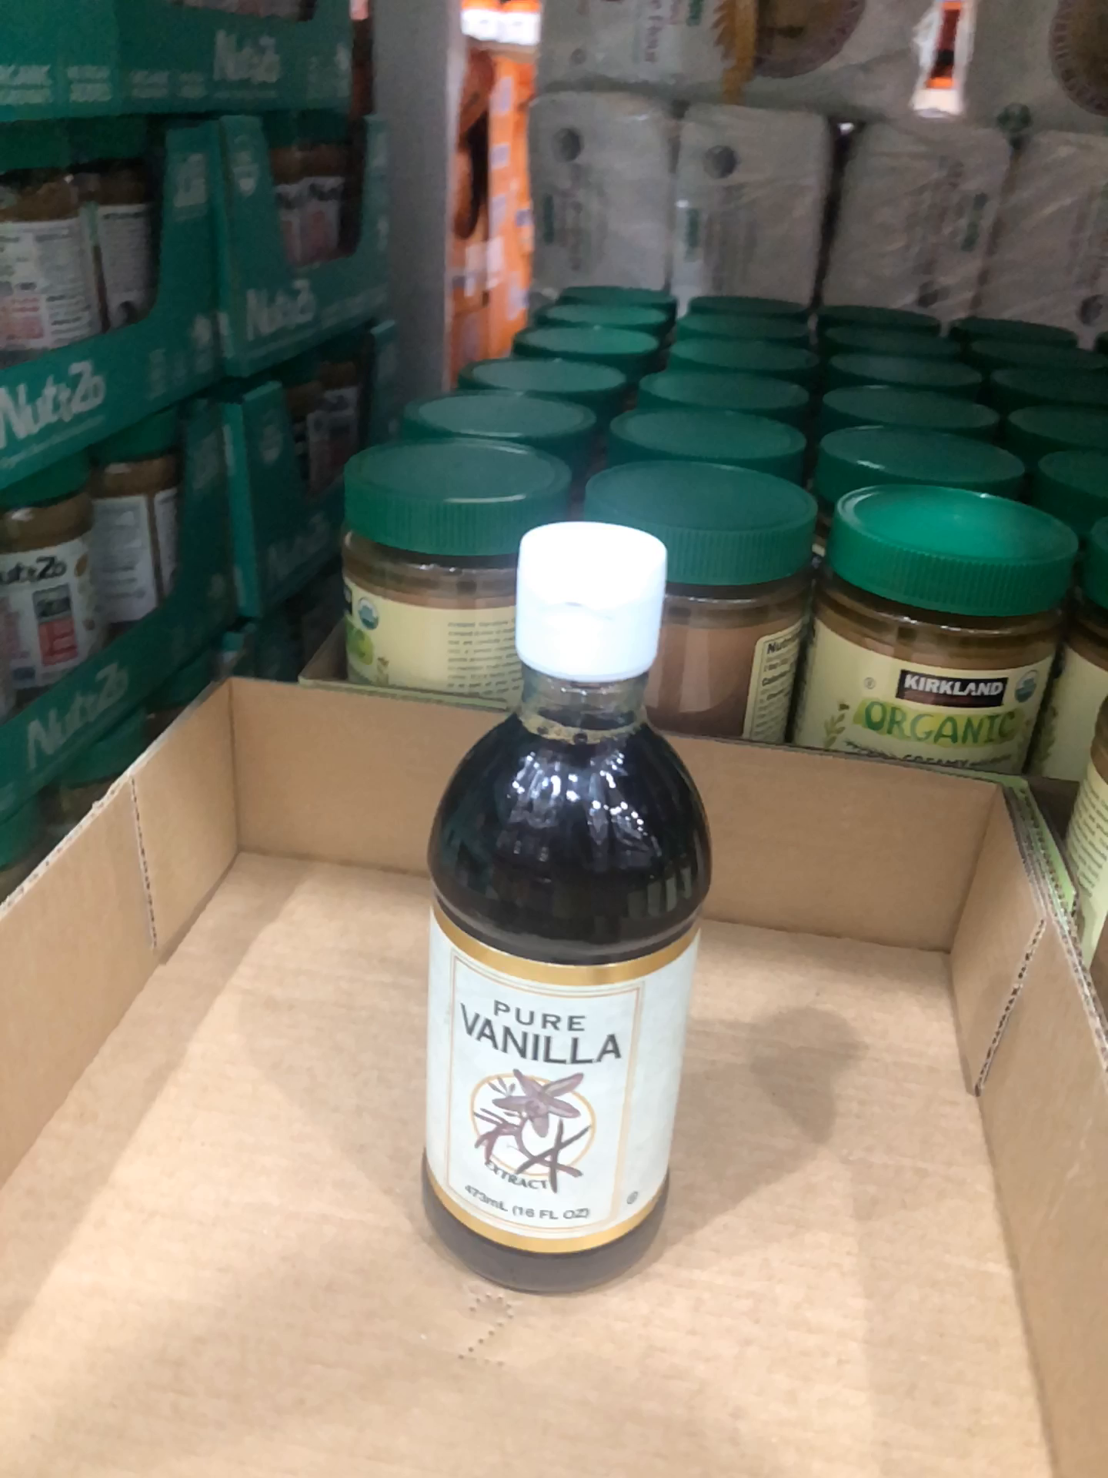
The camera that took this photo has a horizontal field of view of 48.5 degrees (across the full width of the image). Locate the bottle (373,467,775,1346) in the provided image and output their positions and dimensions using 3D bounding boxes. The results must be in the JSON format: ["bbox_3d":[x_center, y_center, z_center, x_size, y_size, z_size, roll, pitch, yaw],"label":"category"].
[{"bbox_3d":[0.003,0.044,0.302,0.070,0.199,0.070,2,28,-1],"label":"bottle"}]
